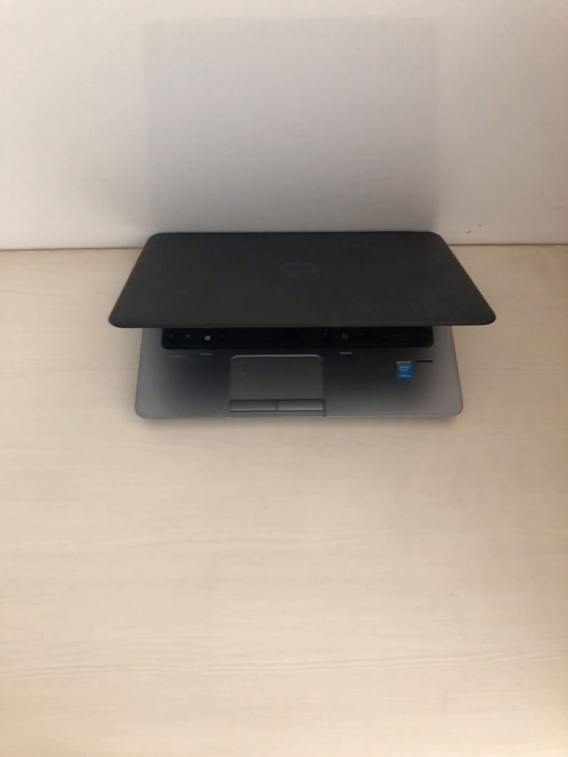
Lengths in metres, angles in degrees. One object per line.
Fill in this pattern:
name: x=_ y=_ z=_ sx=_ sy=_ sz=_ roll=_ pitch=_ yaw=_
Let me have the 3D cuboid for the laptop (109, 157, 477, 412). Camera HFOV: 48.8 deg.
laptop: x=0.007 y=-0.096 z=0.640 sx=0.319 sy=0.118 sz=0.220 roll=-1 pitch=65 yaw=-2
